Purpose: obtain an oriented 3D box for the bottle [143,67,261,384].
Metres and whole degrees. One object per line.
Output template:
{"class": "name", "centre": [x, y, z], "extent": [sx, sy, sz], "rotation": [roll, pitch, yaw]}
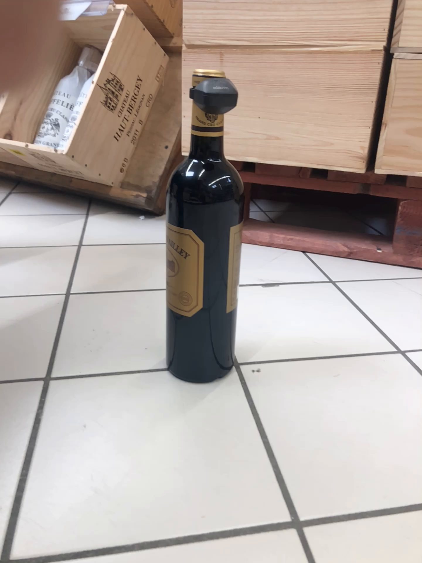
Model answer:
{"class": "bottle", "centre": [-0.012, -0.048, 0.451], "extent": [0.090, 0.288, 0.090], "rotation": [2, 23, -1]}
